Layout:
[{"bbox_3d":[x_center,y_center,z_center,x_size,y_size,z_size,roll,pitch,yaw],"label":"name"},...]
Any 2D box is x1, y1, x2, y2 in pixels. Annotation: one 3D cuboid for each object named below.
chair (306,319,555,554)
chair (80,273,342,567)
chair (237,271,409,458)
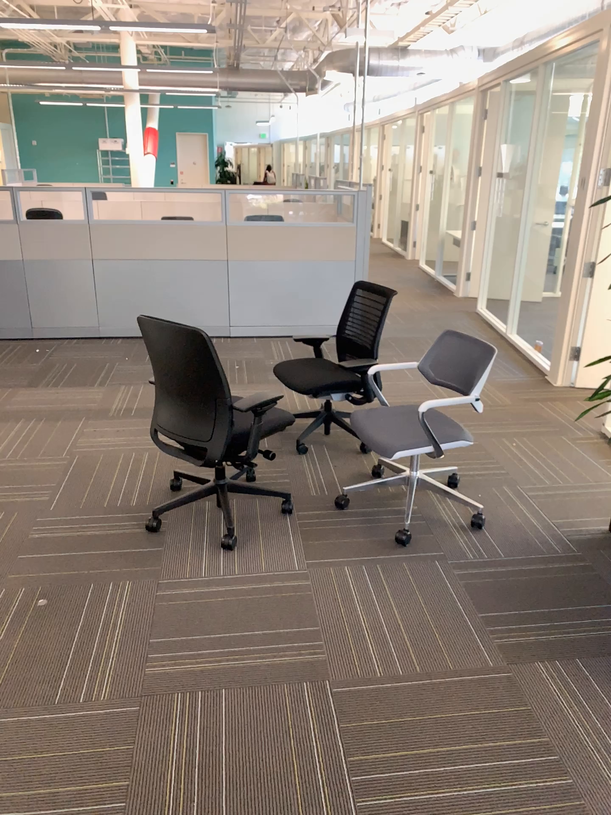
[{"bbox_3d":[0.502,0.069,2.853,0.760,0.736,0.774,-7,22,-19],"label":"chair"},{"bbox_3d":[-0.389,-0.025,2.772,0.772,0.955,0.761,16,26,35],"label":"chair"},{"bbox_3d":[0.086,-0.325,3.999,0.760,0.926,0.774,-11,23,-29],"label":"chair"}]
